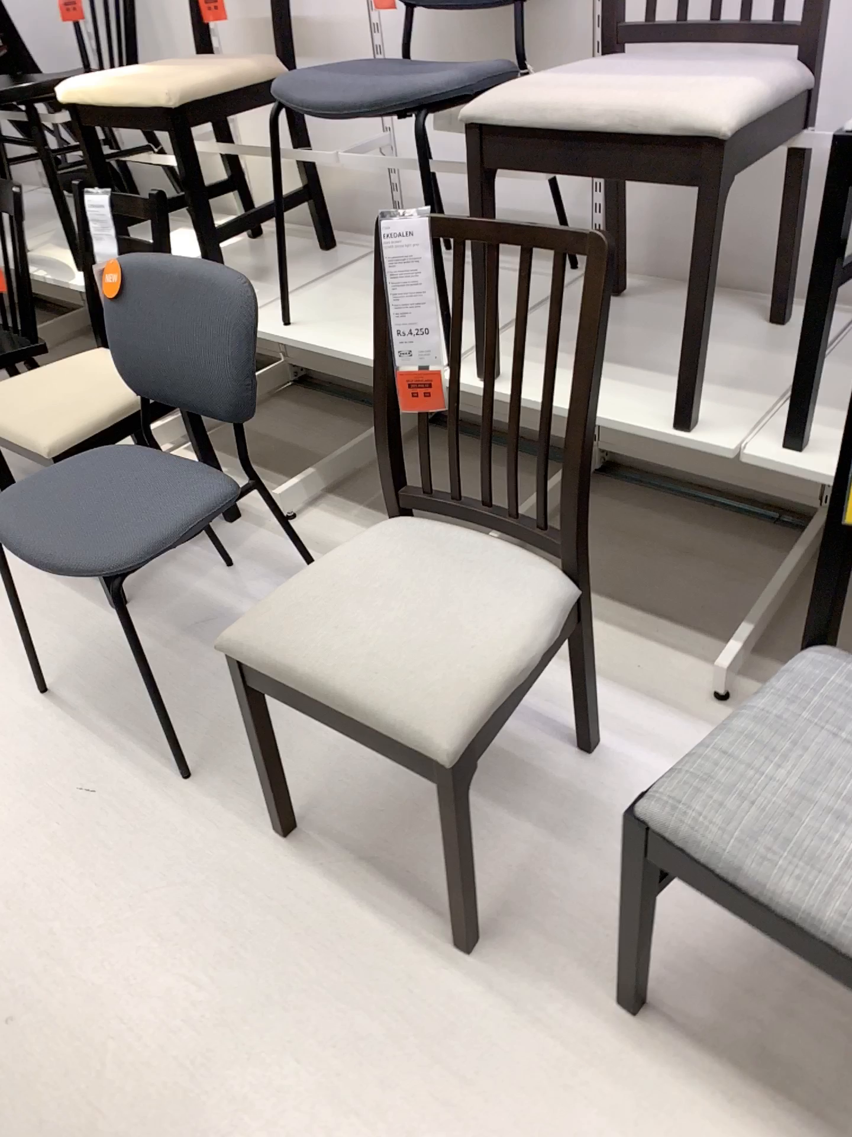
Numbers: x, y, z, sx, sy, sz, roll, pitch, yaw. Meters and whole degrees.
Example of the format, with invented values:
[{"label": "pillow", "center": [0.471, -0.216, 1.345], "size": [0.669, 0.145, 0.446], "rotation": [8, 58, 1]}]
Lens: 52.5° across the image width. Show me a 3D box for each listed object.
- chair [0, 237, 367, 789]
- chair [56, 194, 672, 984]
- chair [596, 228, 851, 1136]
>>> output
[{"label": "chair", "center": [-0.583, -0.140, 1.722], "size": [0.571, 0.787, 0.611], "rotation": [17, 44, 29]}, {"label": "chair", "center": [-0.009, 0.027, 1.261], "size": [0.481, 0.916, 0.531], "rotation": [20, 46, 32]}, {"label": "chair", "center": [0.543, 0.211, 0.934], "size": [0.482, 0.916, 0.531], "rotation": [26, 49, 37]}]
